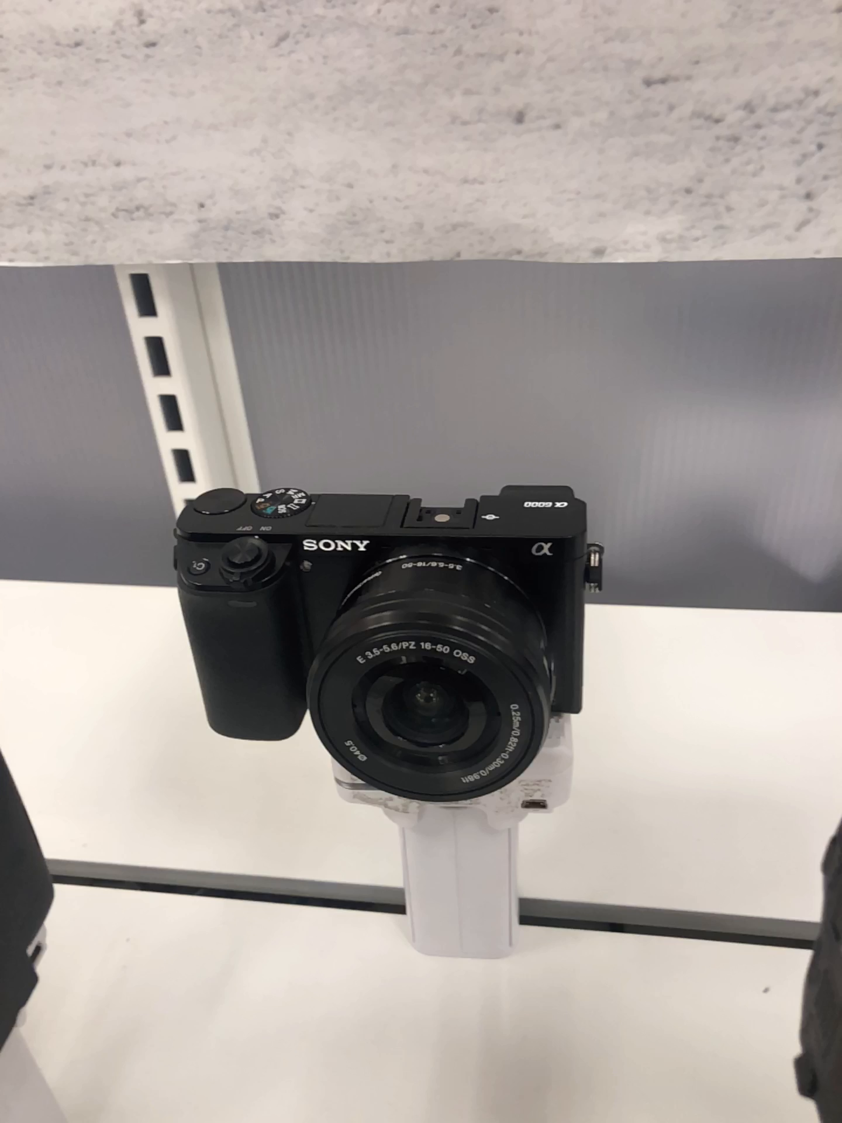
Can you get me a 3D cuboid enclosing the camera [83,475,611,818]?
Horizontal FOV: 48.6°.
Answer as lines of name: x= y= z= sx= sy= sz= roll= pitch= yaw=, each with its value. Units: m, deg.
camera: x=-0.013 y=0.019 z=0.252 sx=0.120 sy=0.058 sz=0.068 roll=1 pitch=35 yaw=8
